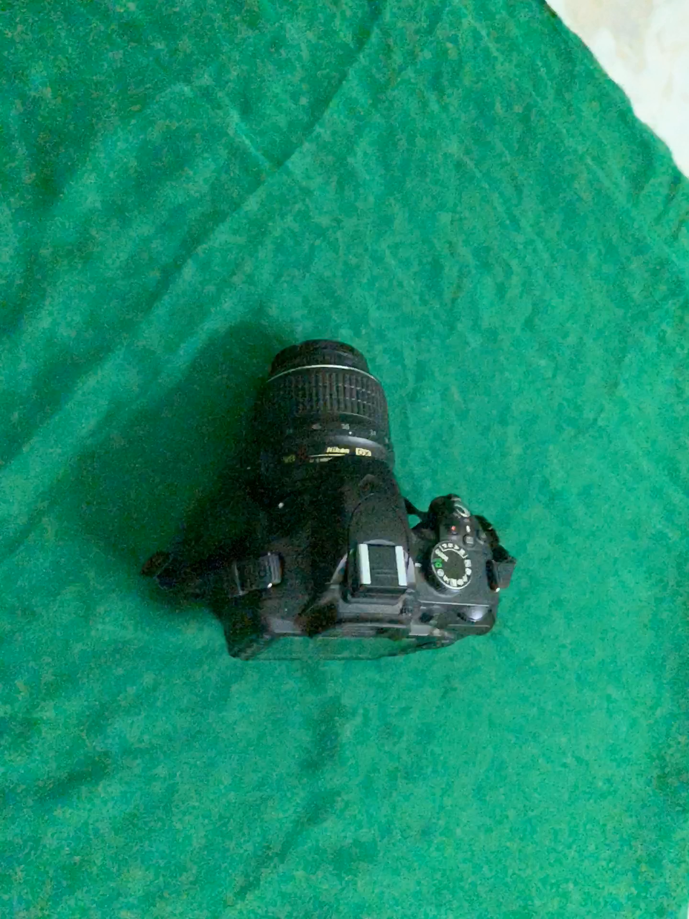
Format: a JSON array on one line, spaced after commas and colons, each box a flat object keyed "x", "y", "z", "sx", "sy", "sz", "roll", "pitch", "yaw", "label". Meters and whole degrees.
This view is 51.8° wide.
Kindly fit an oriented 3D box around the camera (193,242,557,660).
[{"x": 0.007, "y": 0.008, "z": 0.350, "sx": 0.133, "sy": 0.100, "sz": 0.166, "roll": 8, "pitch": 67, "yaw": -25, "label": "camera"}]
